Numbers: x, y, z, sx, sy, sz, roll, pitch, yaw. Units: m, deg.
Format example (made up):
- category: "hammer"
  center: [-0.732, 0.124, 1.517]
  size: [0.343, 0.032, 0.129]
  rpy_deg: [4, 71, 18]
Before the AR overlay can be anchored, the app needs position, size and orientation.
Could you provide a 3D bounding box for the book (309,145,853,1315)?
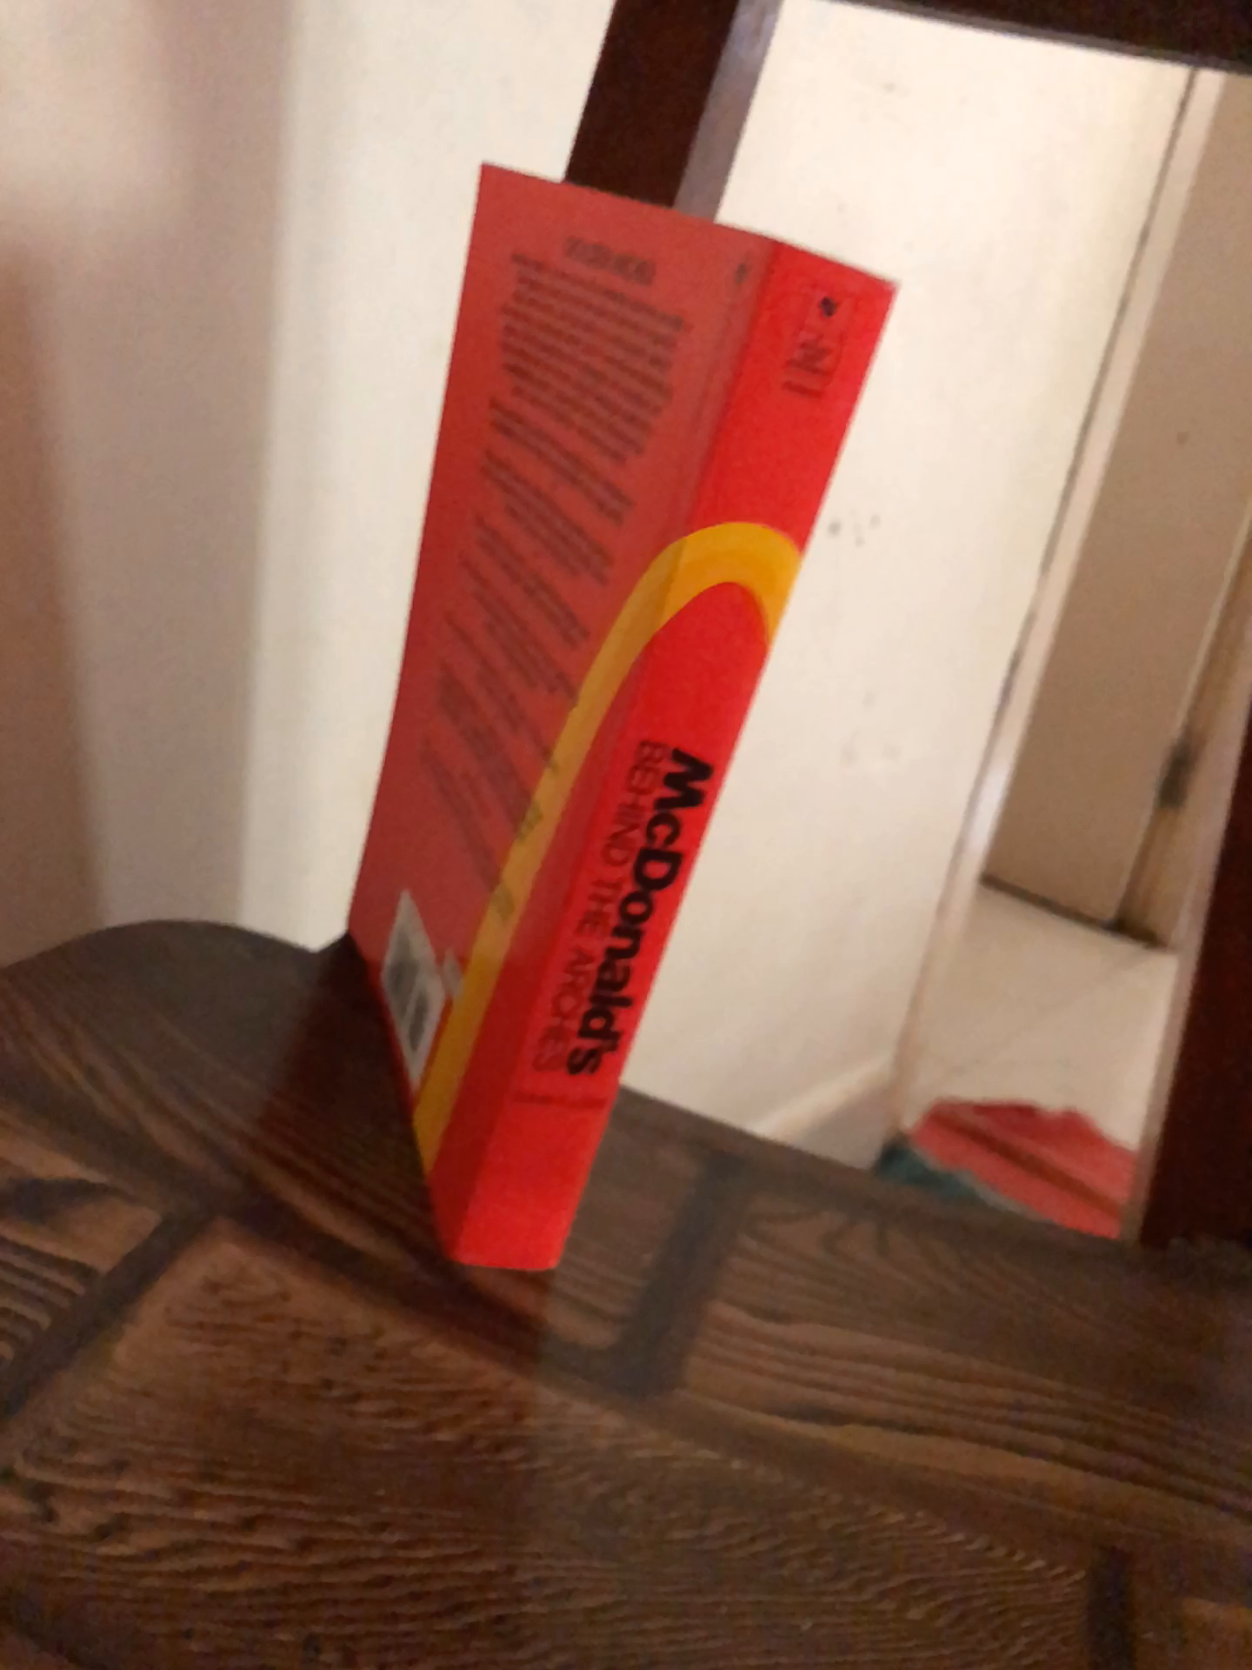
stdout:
- category: "book"
  center: [-0.034, -0.039, 0.363]
  size: [0.040, 0.239, 0.191]
  rpy_deg: [9, 19, -20]
